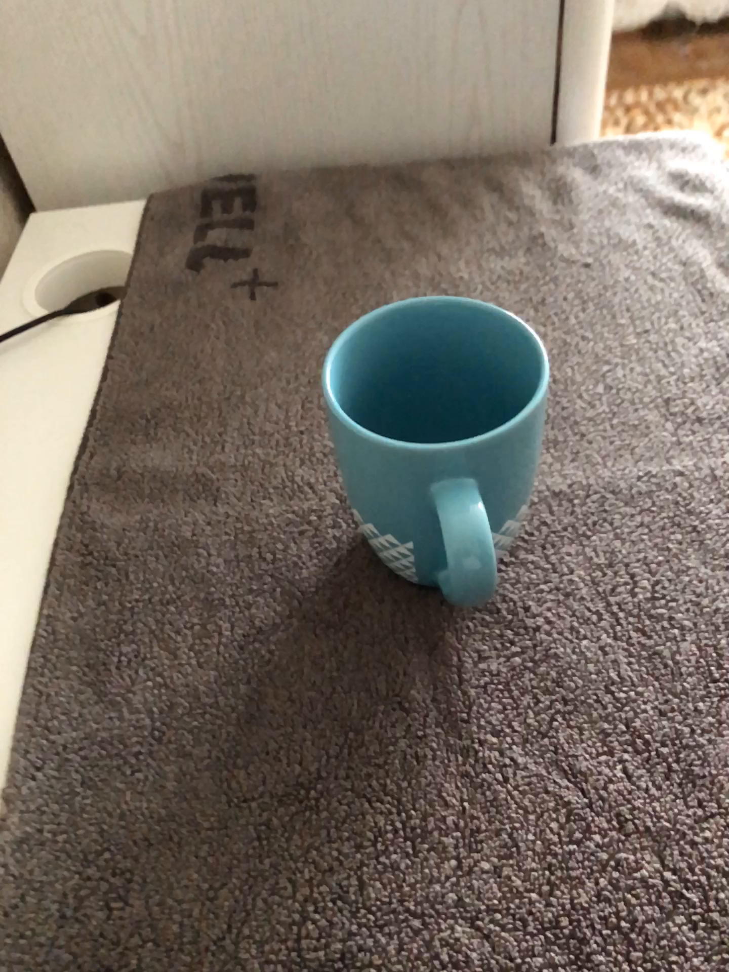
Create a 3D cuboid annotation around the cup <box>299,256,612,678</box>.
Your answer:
[{"bbox_3d":[0.028,-0.010,0.315,0.087,0.089,0.127,-9,48,0],"label":"cup"}]
